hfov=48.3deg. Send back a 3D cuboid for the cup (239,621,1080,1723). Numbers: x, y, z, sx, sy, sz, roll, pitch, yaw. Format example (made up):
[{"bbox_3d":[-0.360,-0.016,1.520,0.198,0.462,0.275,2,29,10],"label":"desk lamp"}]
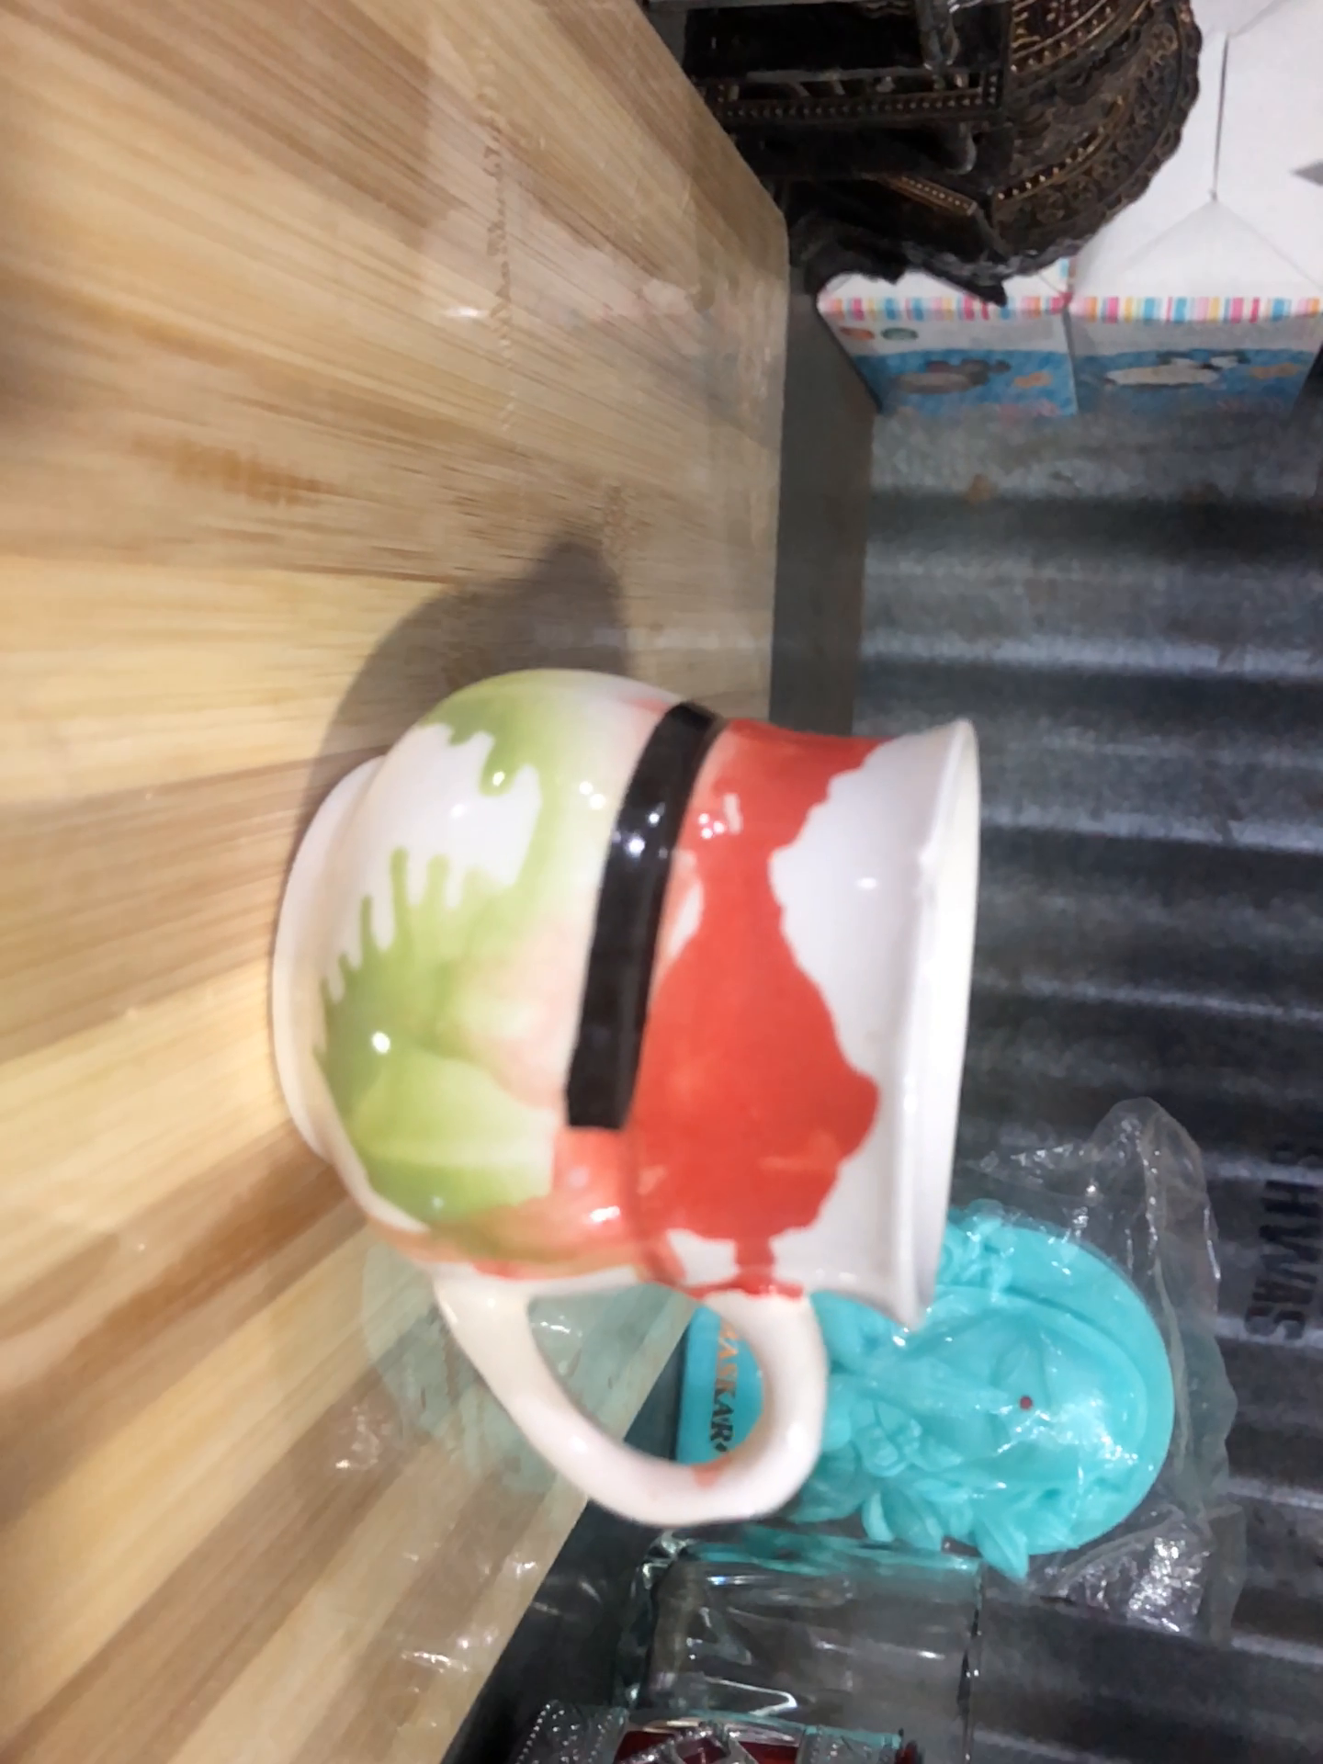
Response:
[{"bbox_3d":[0.004,0.022,0.159,0.060,0.070,0.090,-16,111,-76],"label":"cup"}]
